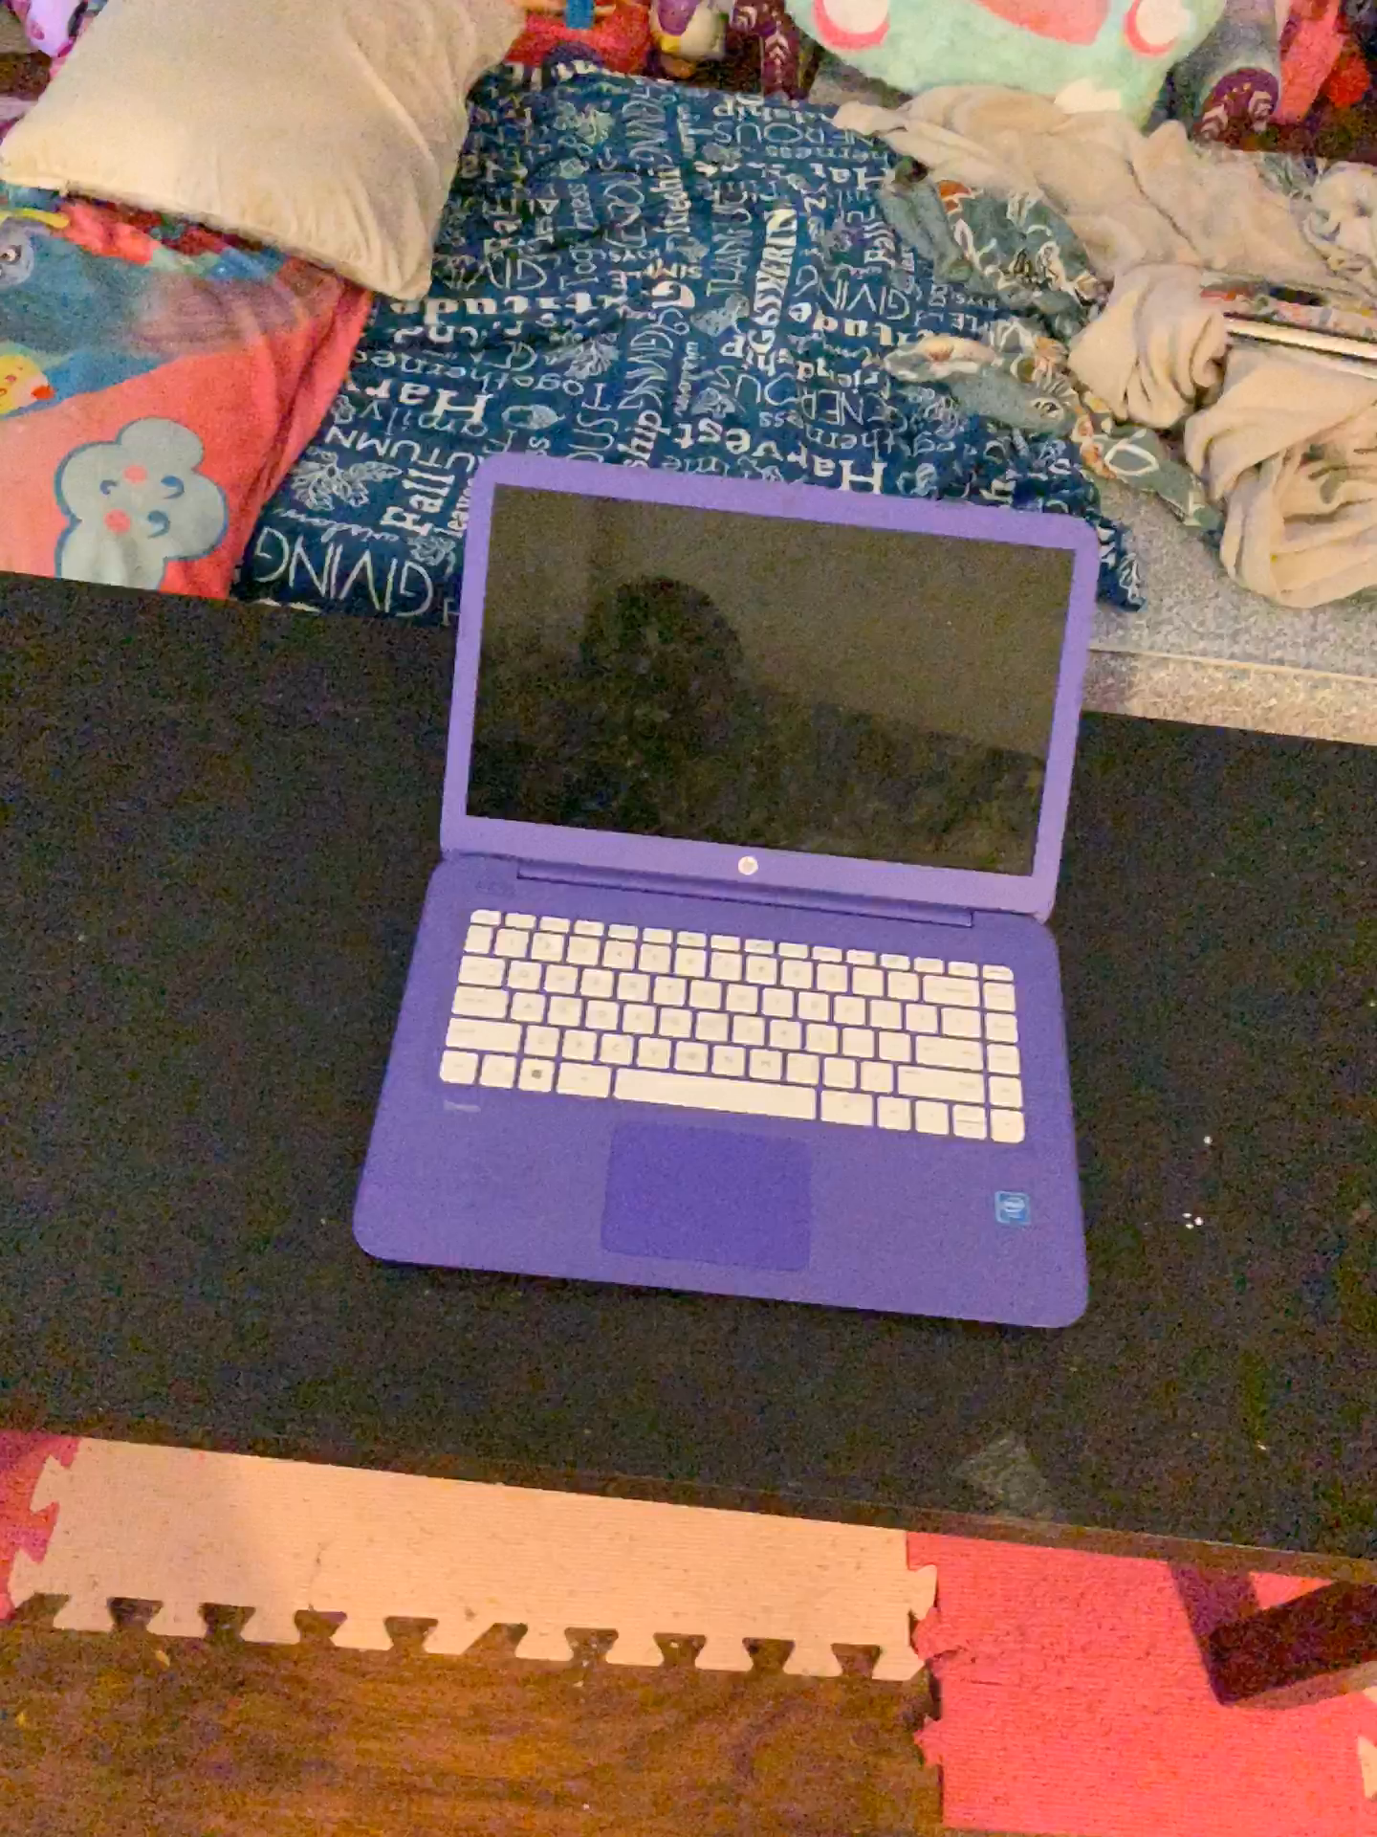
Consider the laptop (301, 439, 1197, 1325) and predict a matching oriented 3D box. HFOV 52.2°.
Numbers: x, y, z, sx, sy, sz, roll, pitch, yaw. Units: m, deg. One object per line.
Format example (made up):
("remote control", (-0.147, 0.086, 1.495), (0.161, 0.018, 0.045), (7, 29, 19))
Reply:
("laptop", (0.034, -0.035, 0.695), (0.339, 0.132, 0.398), (6, 56, -1))
